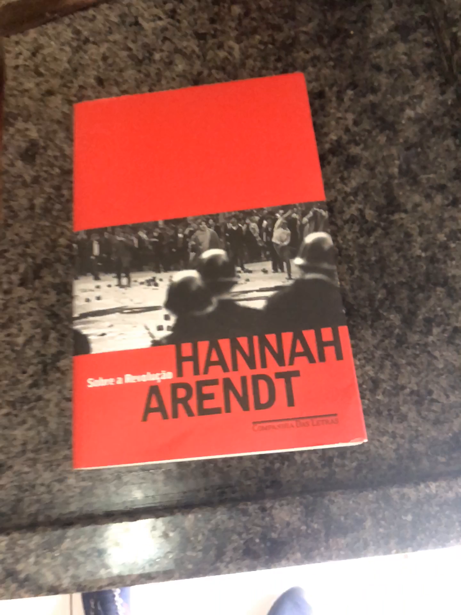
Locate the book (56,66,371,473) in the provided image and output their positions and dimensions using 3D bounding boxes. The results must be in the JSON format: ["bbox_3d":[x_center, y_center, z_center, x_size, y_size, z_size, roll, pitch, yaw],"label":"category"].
[{"bbox_3d":[-0.017,-0.026,0.282,0.145,0.030,0.210,-6,72,4],"label":"book"}]
